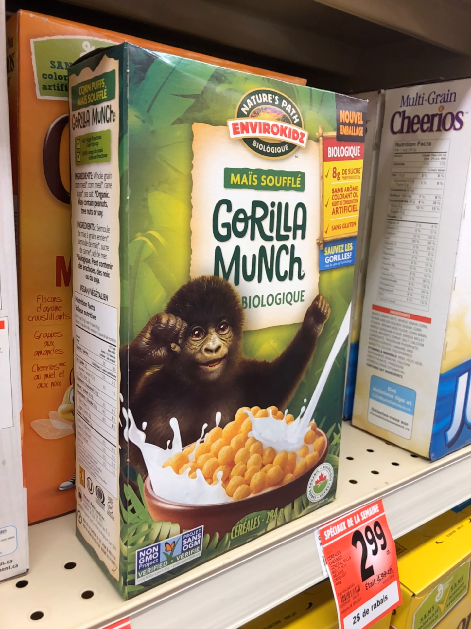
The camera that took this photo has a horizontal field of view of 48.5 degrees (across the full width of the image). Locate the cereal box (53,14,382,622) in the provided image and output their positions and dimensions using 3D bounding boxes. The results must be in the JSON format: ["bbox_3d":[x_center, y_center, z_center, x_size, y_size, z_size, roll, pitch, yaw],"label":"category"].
[{"bbox_3d":[-0.009,0.003,0.289,0.160,0.259,0.060,-7,17,-38],"label":"cereal box"}]
